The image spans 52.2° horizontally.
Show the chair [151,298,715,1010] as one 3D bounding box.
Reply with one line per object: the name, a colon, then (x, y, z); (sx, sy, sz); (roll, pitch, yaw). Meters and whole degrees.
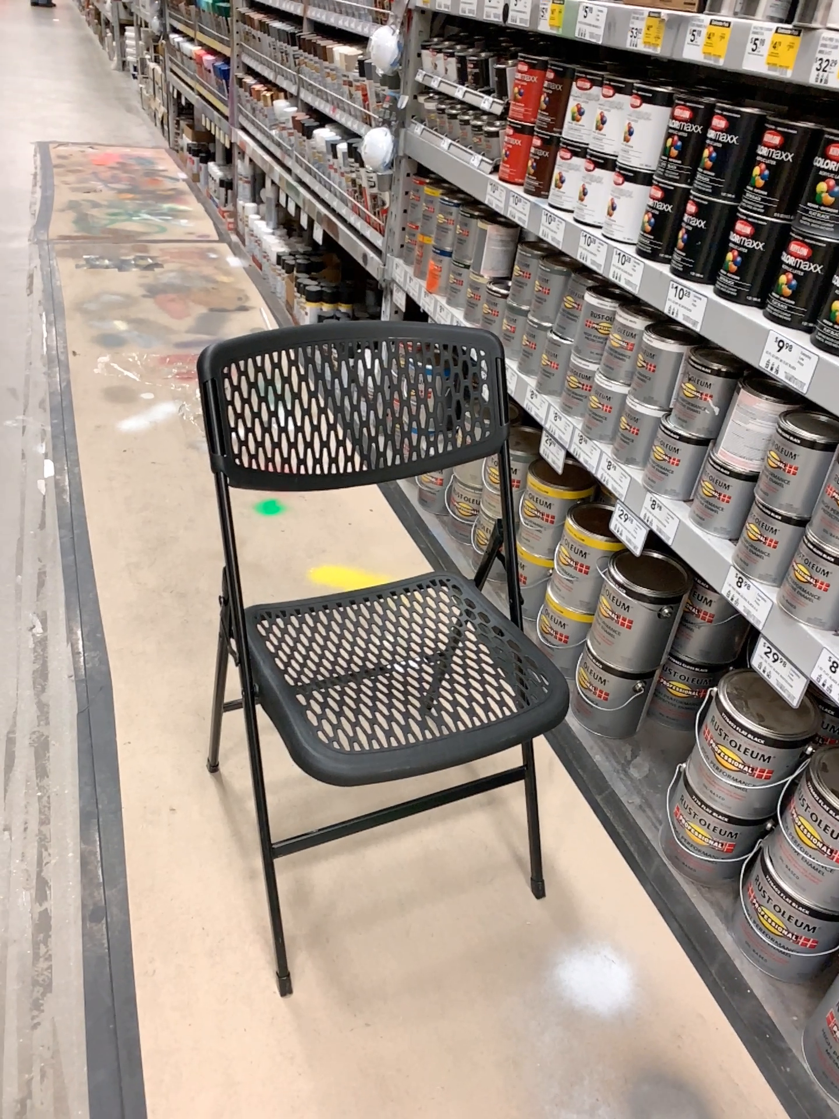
chair: (-0.051, 0.111, 1.265); (0.519, 0.814, 0.517); (-10, 37, -23)
